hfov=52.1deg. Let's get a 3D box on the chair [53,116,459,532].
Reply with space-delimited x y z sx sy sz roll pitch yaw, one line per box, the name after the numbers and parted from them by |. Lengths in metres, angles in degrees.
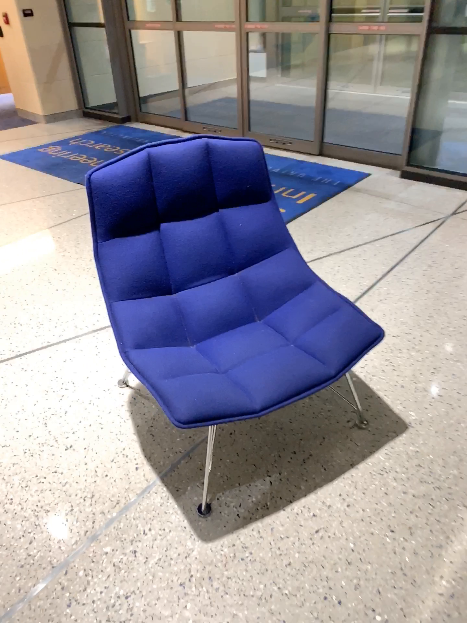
0.028 -0.055 1.594 0.856 0.893 0.799 -19 37 -24 | chair
